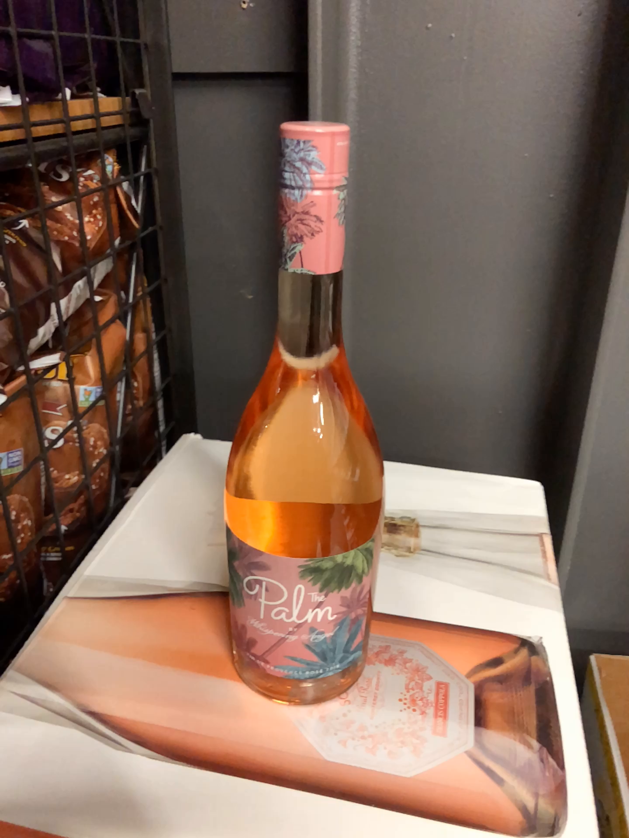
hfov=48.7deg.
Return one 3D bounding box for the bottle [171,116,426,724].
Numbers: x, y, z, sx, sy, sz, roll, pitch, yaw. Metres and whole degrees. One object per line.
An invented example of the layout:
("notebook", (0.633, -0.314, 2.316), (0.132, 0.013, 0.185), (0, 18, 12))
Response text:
("bottle", (-0.001, 0.006, 0.347), (0.087, 0.285, 0.090), (0, 26, 0))
